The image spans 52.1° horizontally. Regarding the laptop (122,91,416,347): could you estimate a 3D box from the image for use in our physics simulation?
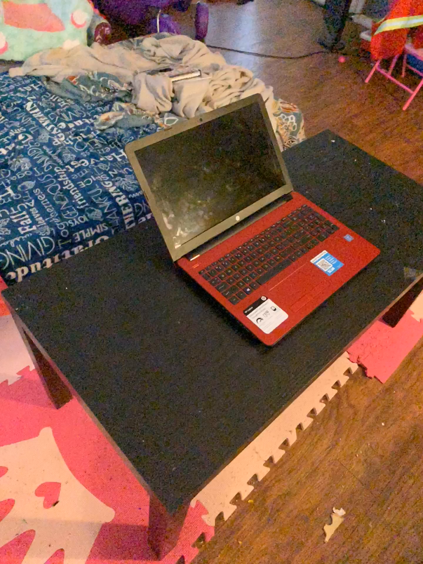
[{"bbox_3d":[0.102,-0.159,0.863,0.377,0.169,0.410,-34,63,-31],"label":"laptop"}]
